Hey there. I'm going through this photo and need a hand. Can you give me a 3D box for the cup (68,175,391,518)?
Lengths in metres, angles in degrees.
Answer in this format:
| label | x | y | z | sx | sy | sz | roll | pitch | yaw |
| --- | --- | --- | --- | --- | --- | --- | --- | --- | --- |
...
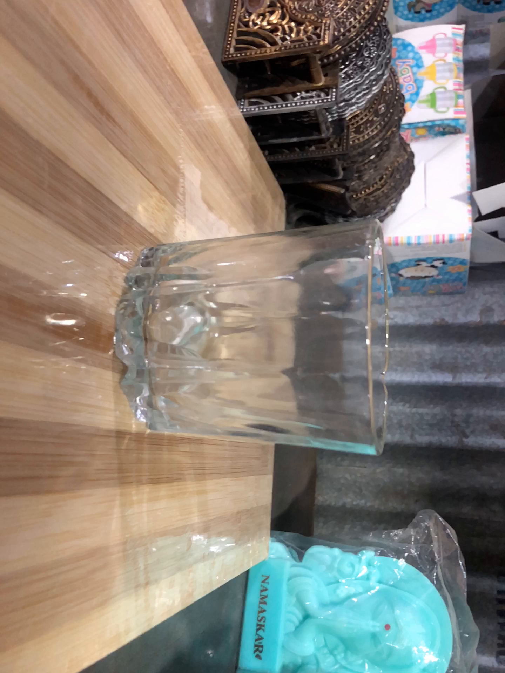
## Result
| label | x | y | z | sx | sy | sz | roll | pitch | yaw |
| --- | --- | --- | --- | --- | --- | --- | --- | --- | --- |
| cup | 0.005 | 0.001 | 0.194 | 0.080 | 0.080 | 0.080 | 0 | 90 | -75 |
